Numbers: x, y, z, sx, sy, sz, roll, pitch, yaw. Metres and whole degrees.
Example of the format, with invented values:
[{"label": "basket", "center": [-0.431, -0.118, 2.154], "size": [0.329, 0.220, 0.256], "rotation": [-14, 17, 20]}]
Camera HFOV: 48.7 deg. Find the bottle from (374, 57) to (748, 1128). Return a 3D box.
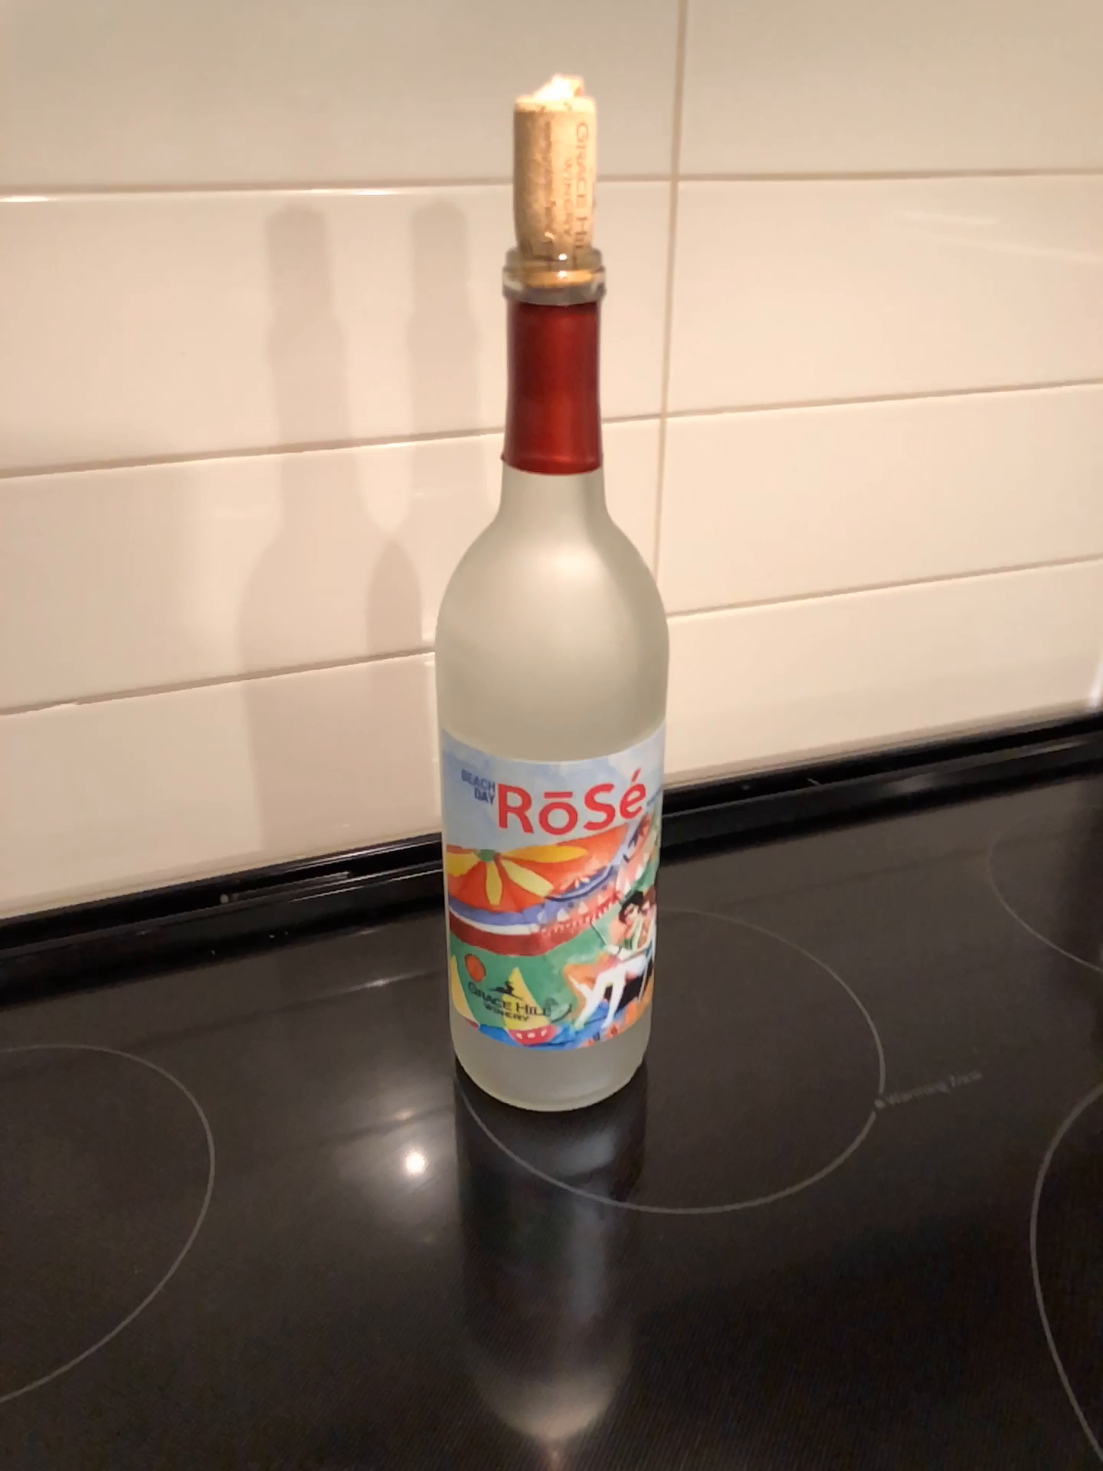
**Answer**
[{"label": "bottle", "center": [-0.002, -0.030, 0.384], "size": [0.080, 0.318, 0.080], "rotation": [0, 27, 0]}]
